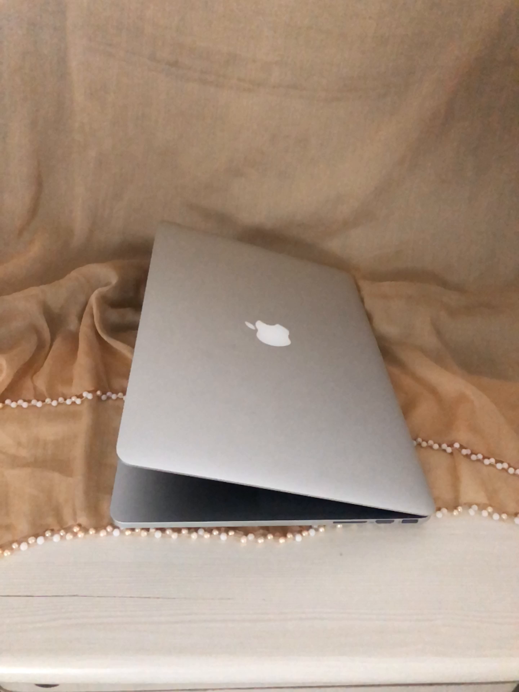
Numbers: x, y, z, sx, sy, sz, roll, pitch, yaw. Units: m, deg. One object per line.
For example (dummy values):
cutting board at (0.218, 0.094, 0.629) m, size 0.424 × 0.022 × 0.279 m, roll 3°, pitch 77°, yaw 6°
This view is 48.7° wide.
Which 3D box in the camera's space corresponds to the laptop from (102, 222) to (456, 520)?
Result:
laptop at (0.003, -0.005, 0.543) m, size 0.239 × 0.063 × 0.354 m, roll 2°, pitch 37°, yaw -5°
